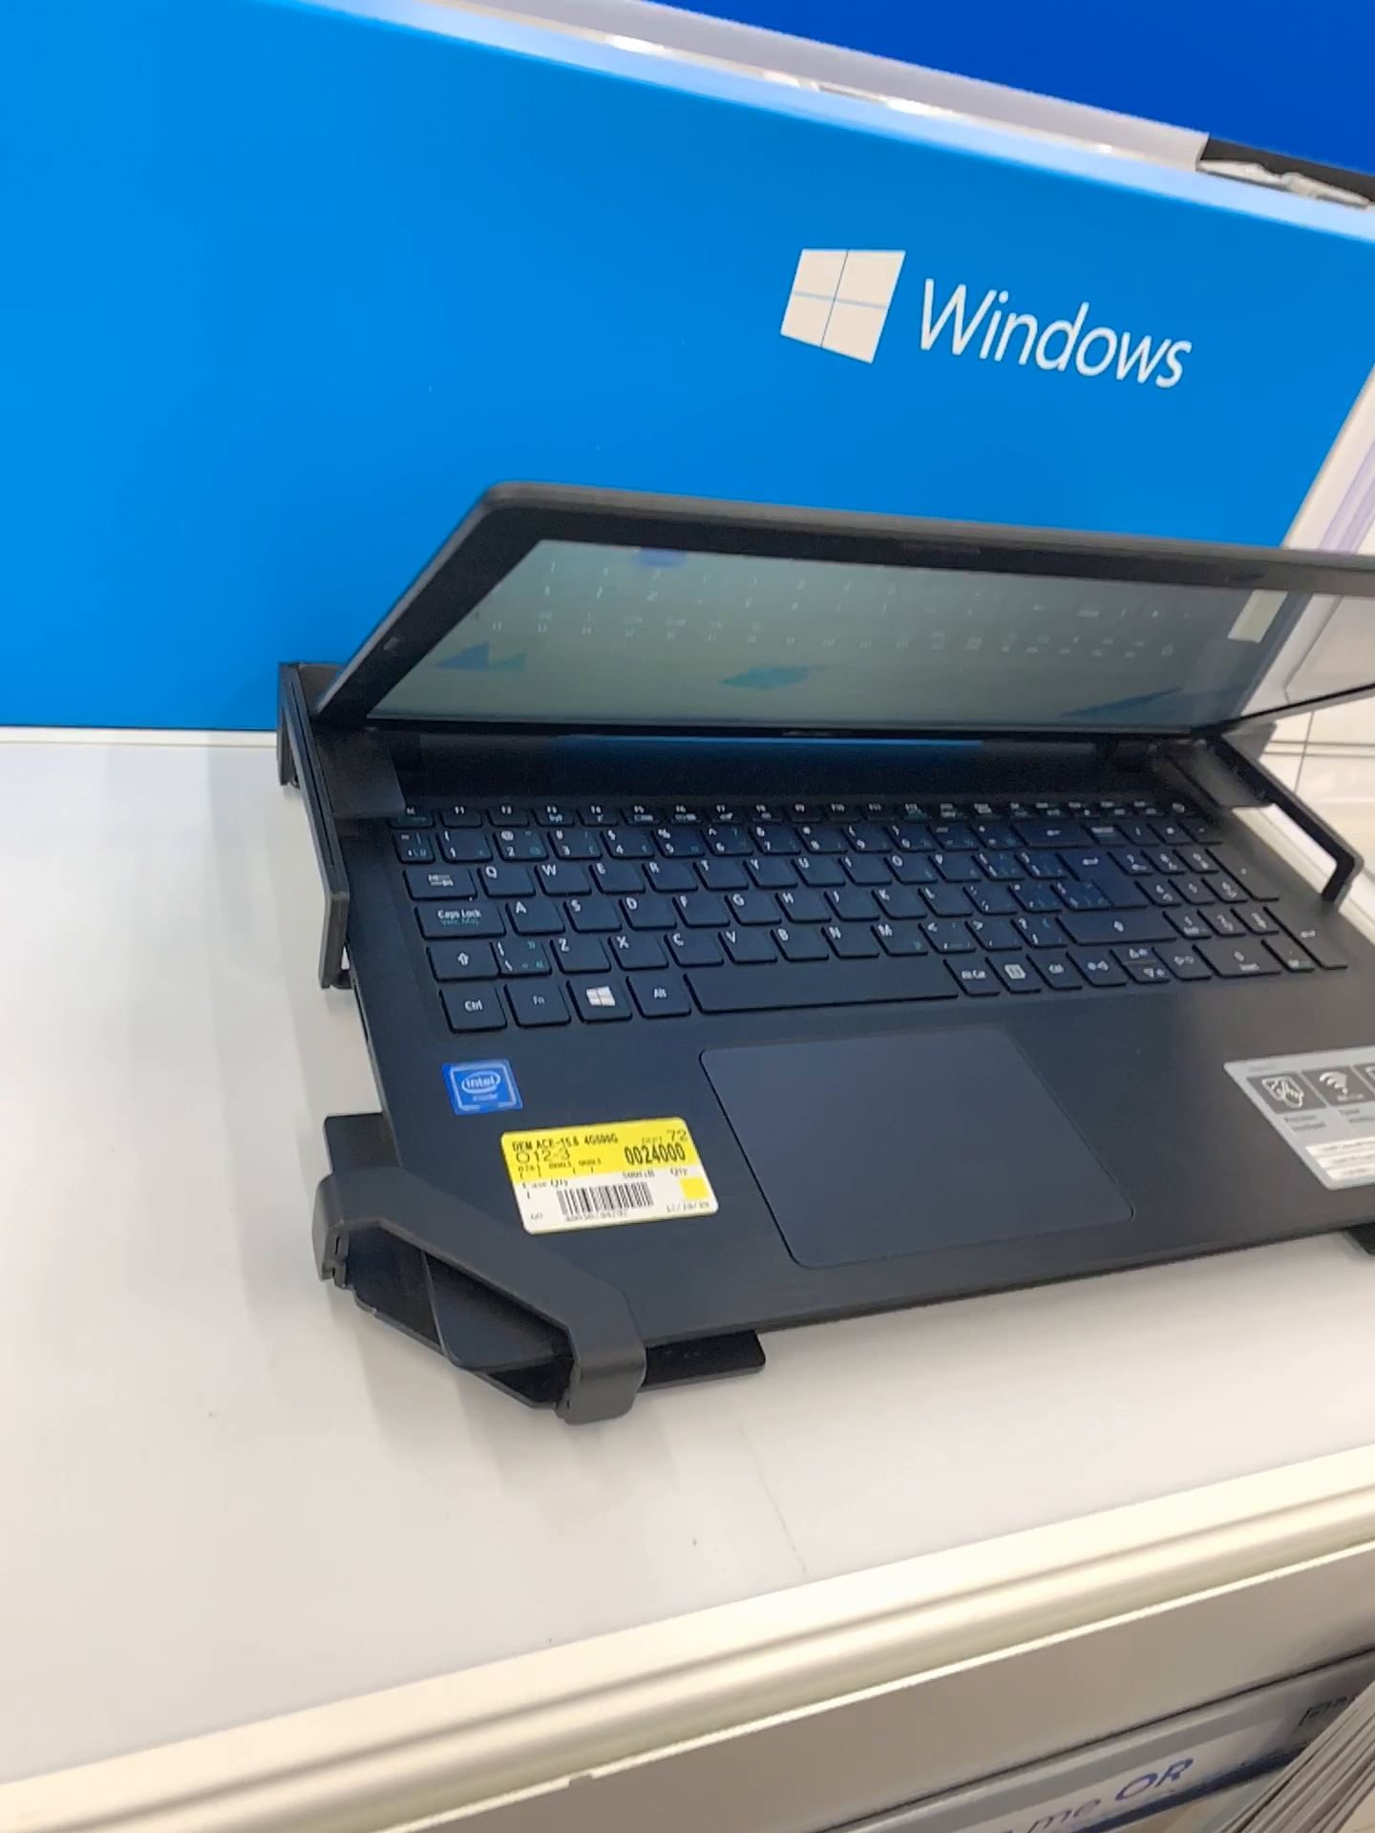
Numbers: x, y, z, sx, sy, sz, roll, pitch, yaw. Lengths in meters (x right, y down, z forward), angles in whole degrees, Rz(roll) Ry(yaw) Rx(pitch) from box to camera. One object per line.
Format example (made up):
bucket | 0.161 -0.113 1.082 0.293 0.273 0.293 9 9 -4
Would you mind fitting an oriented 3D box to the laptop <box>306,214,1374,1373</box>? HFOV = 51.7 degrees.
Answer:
laptop | 0.094 -0.049 0.381 0.344 0.147 0.227 -2 40 -25
